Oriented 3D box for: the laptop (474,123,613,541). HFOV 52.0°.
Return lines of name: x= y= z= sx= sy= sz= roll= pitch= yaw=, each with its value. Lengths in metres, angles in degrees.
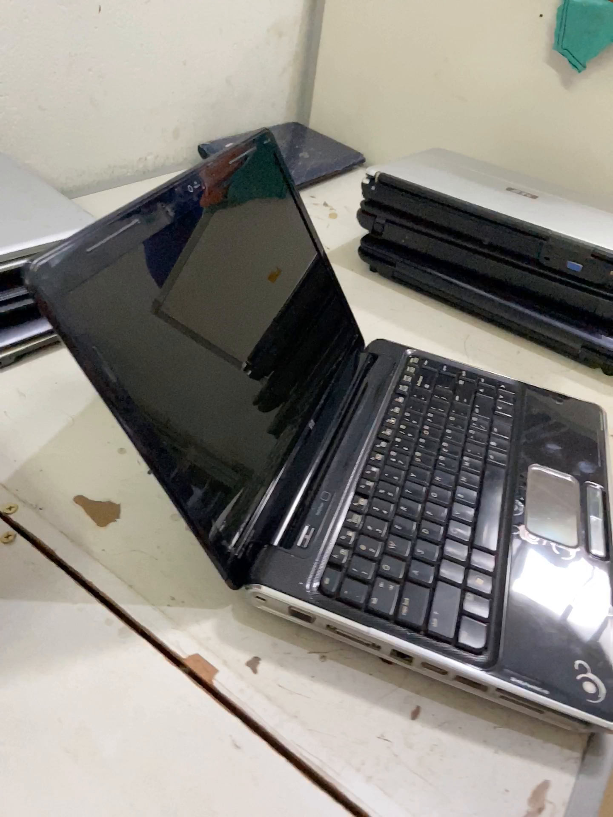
laptop: x=0.402 y=-0.113 z=0.622 sx=0.371 sy=0.175 sz=0.332 roll=20 pitch=39 yaw=13
